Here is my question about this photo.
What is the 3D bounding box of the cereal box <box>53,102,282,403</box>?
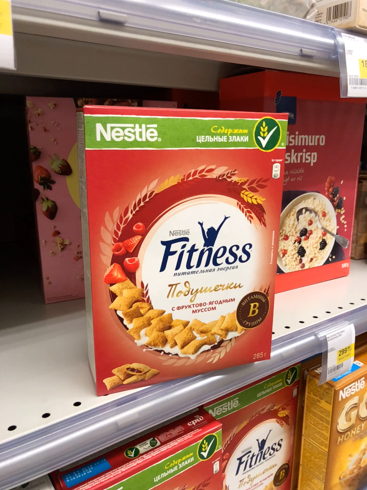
[{"bbox_3d":[-0.012,0.003,0.362,0.180,0.239,0.050,-5,17,-20],"label":"cereal box"}]
